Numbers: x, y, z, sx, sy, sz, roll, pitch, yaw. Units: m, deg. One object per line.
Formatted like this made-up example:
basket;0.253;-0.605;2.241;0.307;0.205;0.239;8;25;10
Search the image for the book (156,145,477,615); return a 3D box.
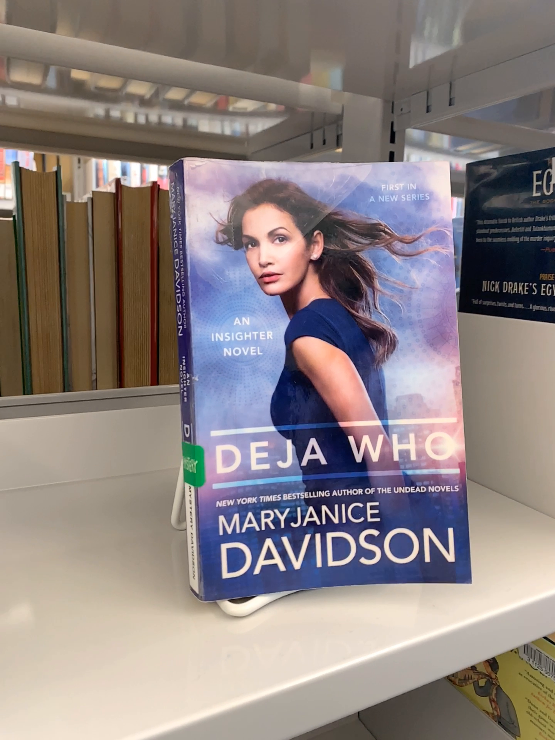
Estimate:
book;0.015;0.001;0.269;0.136;0.190;0.047;-1;-3;-12
